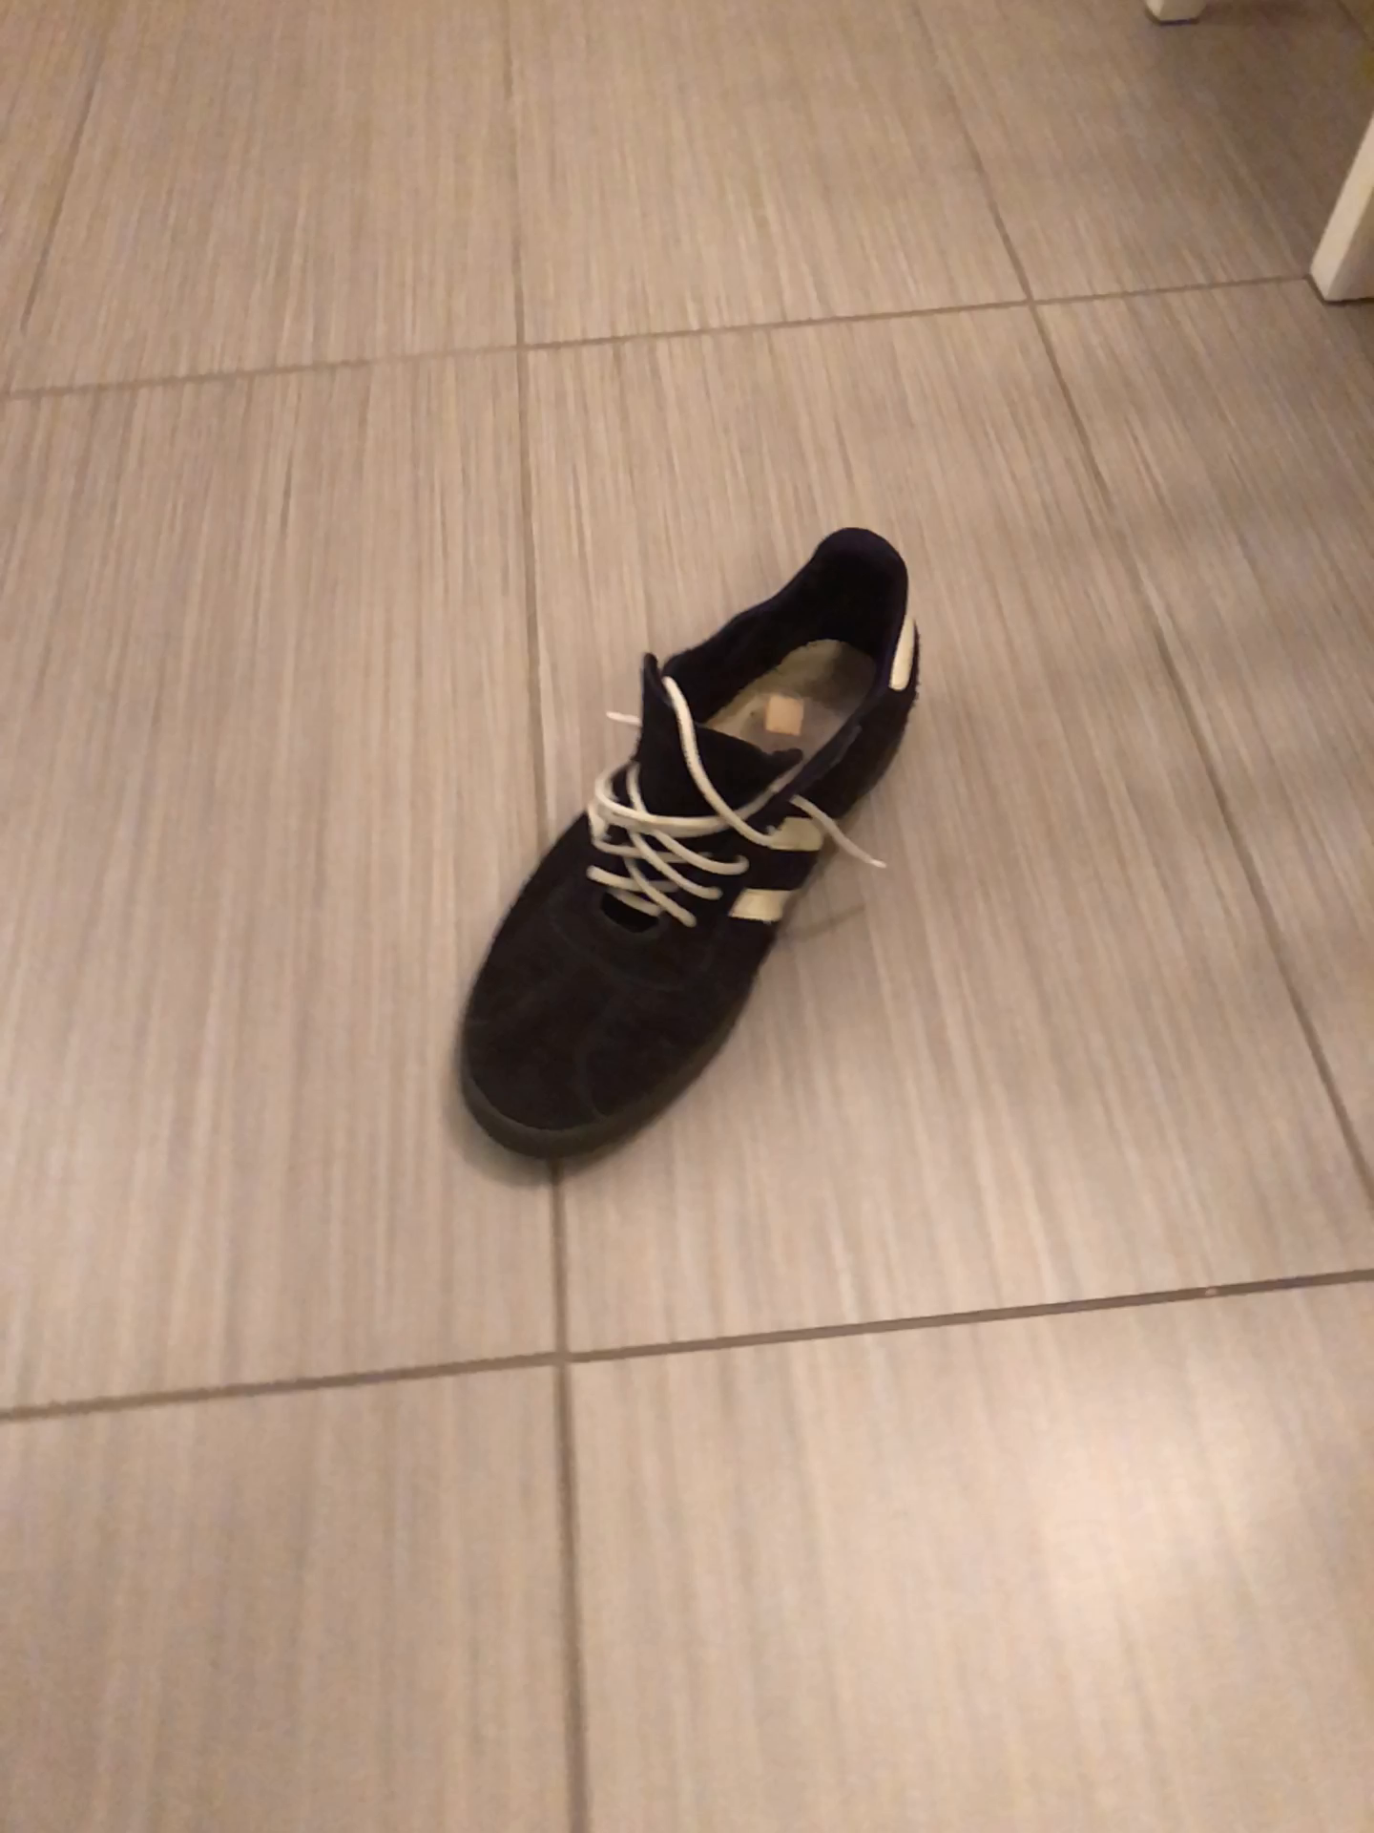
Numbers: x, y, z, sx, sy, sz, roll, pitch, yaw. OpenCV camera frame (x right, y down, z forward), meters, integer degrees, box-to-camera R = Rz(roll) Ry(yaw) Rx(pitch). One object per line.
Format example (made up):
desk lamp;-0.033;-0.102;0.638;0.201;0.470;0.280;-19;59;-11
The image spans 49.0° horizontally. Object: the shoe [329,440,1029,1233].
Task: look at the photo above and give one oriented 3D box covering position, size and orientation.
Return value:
shoe;0.012;-0.045;0.619;0.110;0.119;0.311;27;60;21
